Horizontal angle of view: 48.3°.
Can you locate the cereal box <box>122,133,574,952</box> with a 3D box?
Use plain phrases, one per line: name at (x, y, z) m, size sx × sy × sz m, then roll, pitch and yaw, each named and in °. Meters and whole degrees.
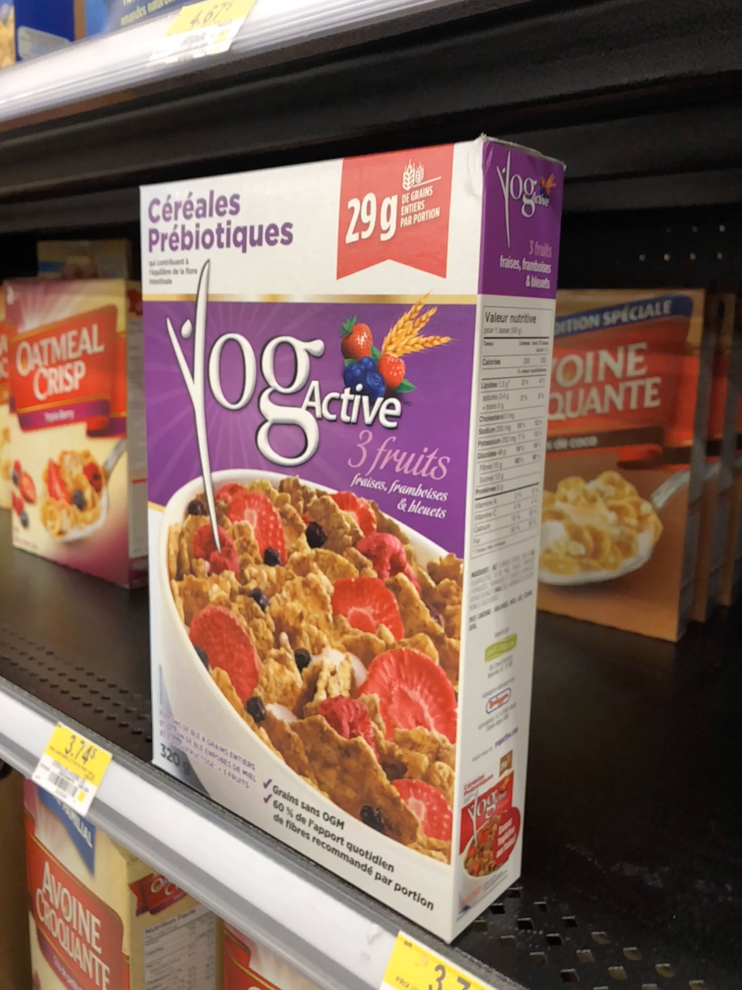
cereal box at (-0.023, 0.010, 0.357) m, size 0.190 × 0.279 × 0.060 m, roll 11°, pitch 15°, yaw 40°
